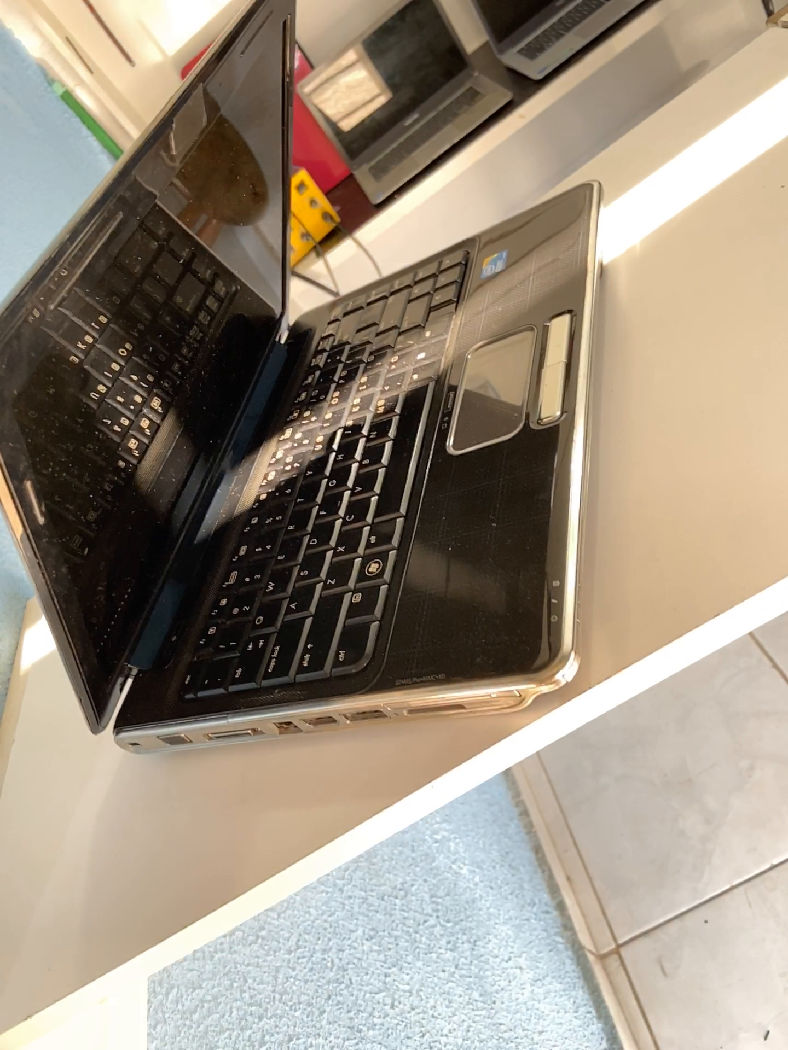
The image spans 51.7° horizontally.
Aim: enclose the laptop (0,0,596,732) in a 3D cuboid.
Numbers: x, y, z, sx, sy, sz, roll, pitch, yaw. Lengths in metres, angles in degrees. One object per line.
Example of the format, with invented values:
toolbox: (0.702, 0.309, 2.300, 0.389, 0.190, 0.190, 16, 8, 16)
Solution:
laptop: (-0.054, -0.100, 0.379, 0.225, 0.165, 0.326, -16, 43, 32)
